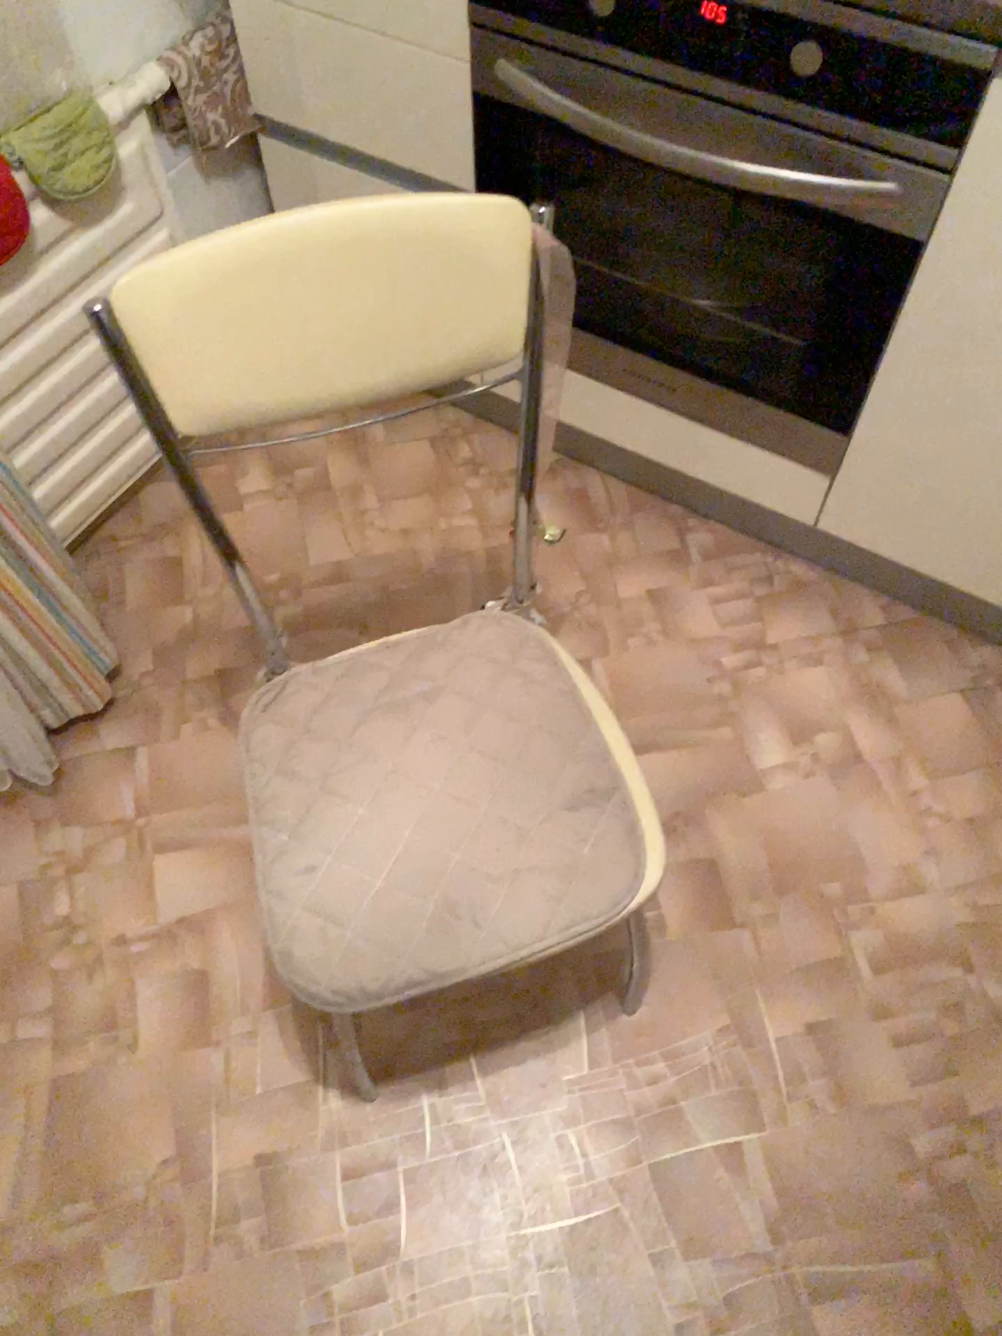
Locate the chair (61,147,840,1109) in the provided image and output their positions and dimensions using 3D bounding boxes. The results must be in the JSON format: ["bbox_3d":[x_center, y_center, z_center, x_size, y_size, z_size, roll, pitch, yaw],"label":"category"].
[{"bbox_3d":[-0.065,0.056,1.026,0.384,0.855,0.493,-16,59,-9],"label":"chair"}]
